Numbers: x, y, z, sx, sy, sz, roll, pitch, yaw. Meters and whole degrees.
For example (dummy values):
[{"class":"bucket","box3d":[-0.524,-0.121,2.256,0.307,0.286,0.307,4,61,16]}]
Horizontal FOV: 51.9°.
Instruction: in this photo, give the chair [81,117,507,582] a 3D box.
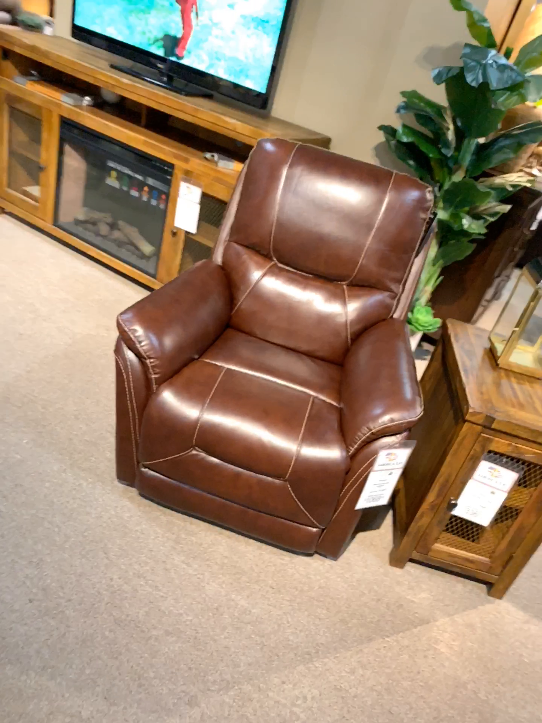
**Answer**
[{"class":"chair","box3d":[0.048,-0.110,1.790,0.848,0.974,0.917,18,30,3]}]
